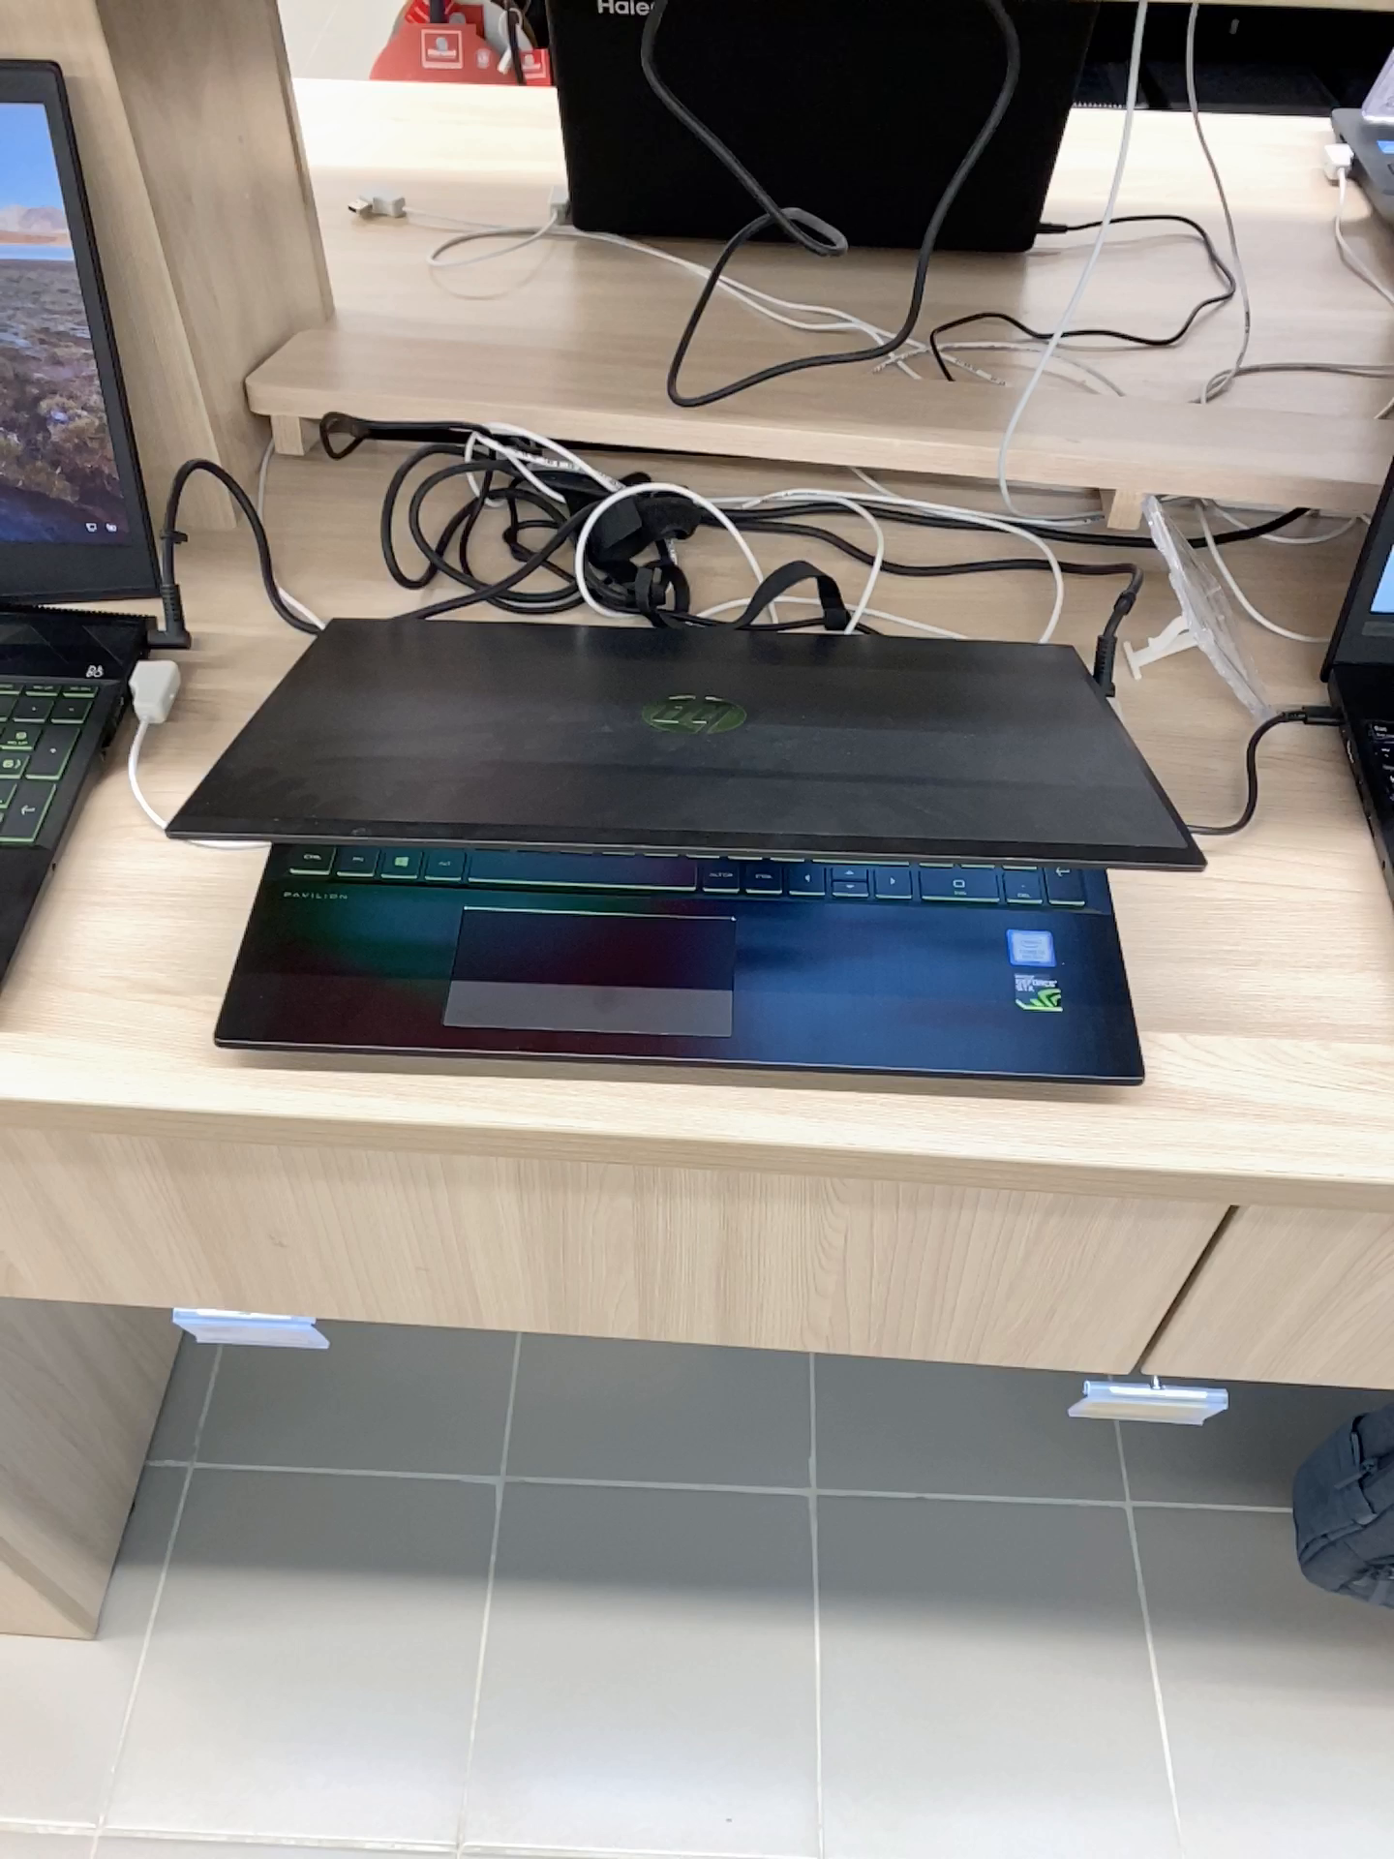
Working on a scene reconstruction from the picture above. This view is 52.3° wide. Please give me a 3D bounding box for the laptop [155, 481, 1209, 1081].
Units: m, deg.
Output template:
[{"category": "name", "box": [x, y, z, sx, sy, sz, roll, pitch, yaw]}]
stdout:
[{"category": "laptop", "box": [-0.001, -0.071, 0.598, 0.361, 0.092, 0.243, 2, 50, -1]}]
